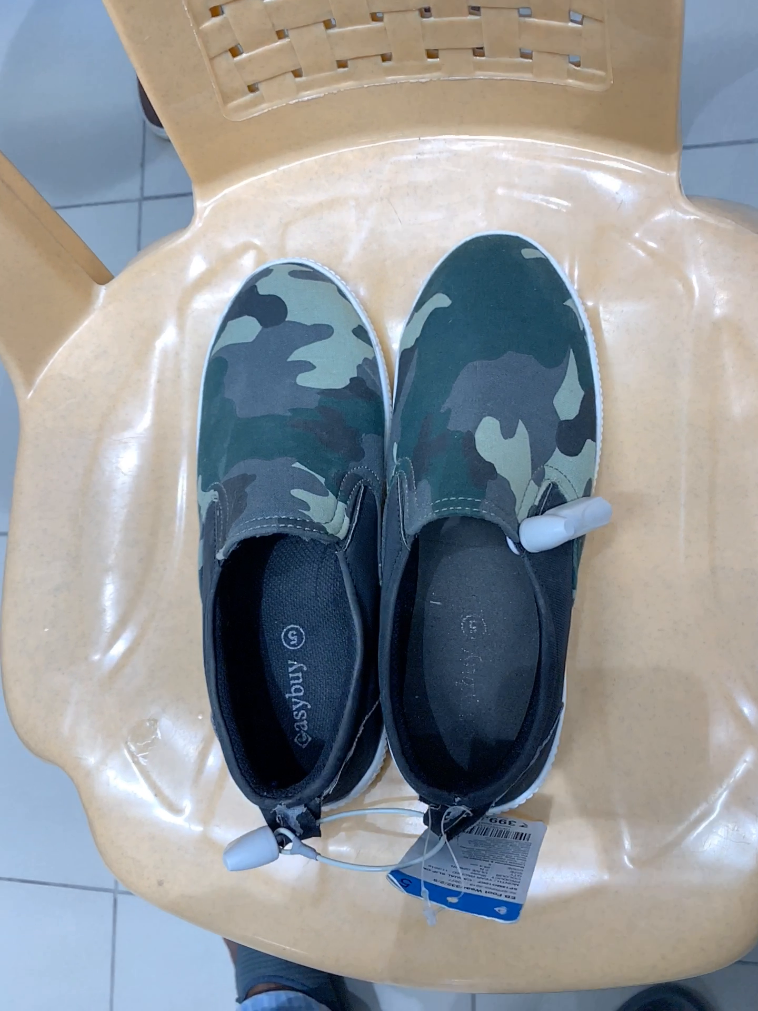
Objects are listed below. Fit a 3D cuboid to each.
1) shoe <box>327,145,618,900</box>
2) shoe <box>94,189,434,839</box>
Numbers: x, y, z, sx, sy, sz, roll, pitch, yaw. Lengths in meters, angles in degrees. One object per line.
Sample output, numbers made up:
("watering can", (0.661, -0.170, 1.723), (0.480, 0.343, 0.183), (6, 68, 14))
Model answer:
("shoe", (0.043, 0.004, 0.305), (0.090, 0.100, 0.240), (0, 82, 14))
("shoe", (-0.042, 0.006, 0.324), (0.090, 0.100, 0.220), (-7, 84, 13))
